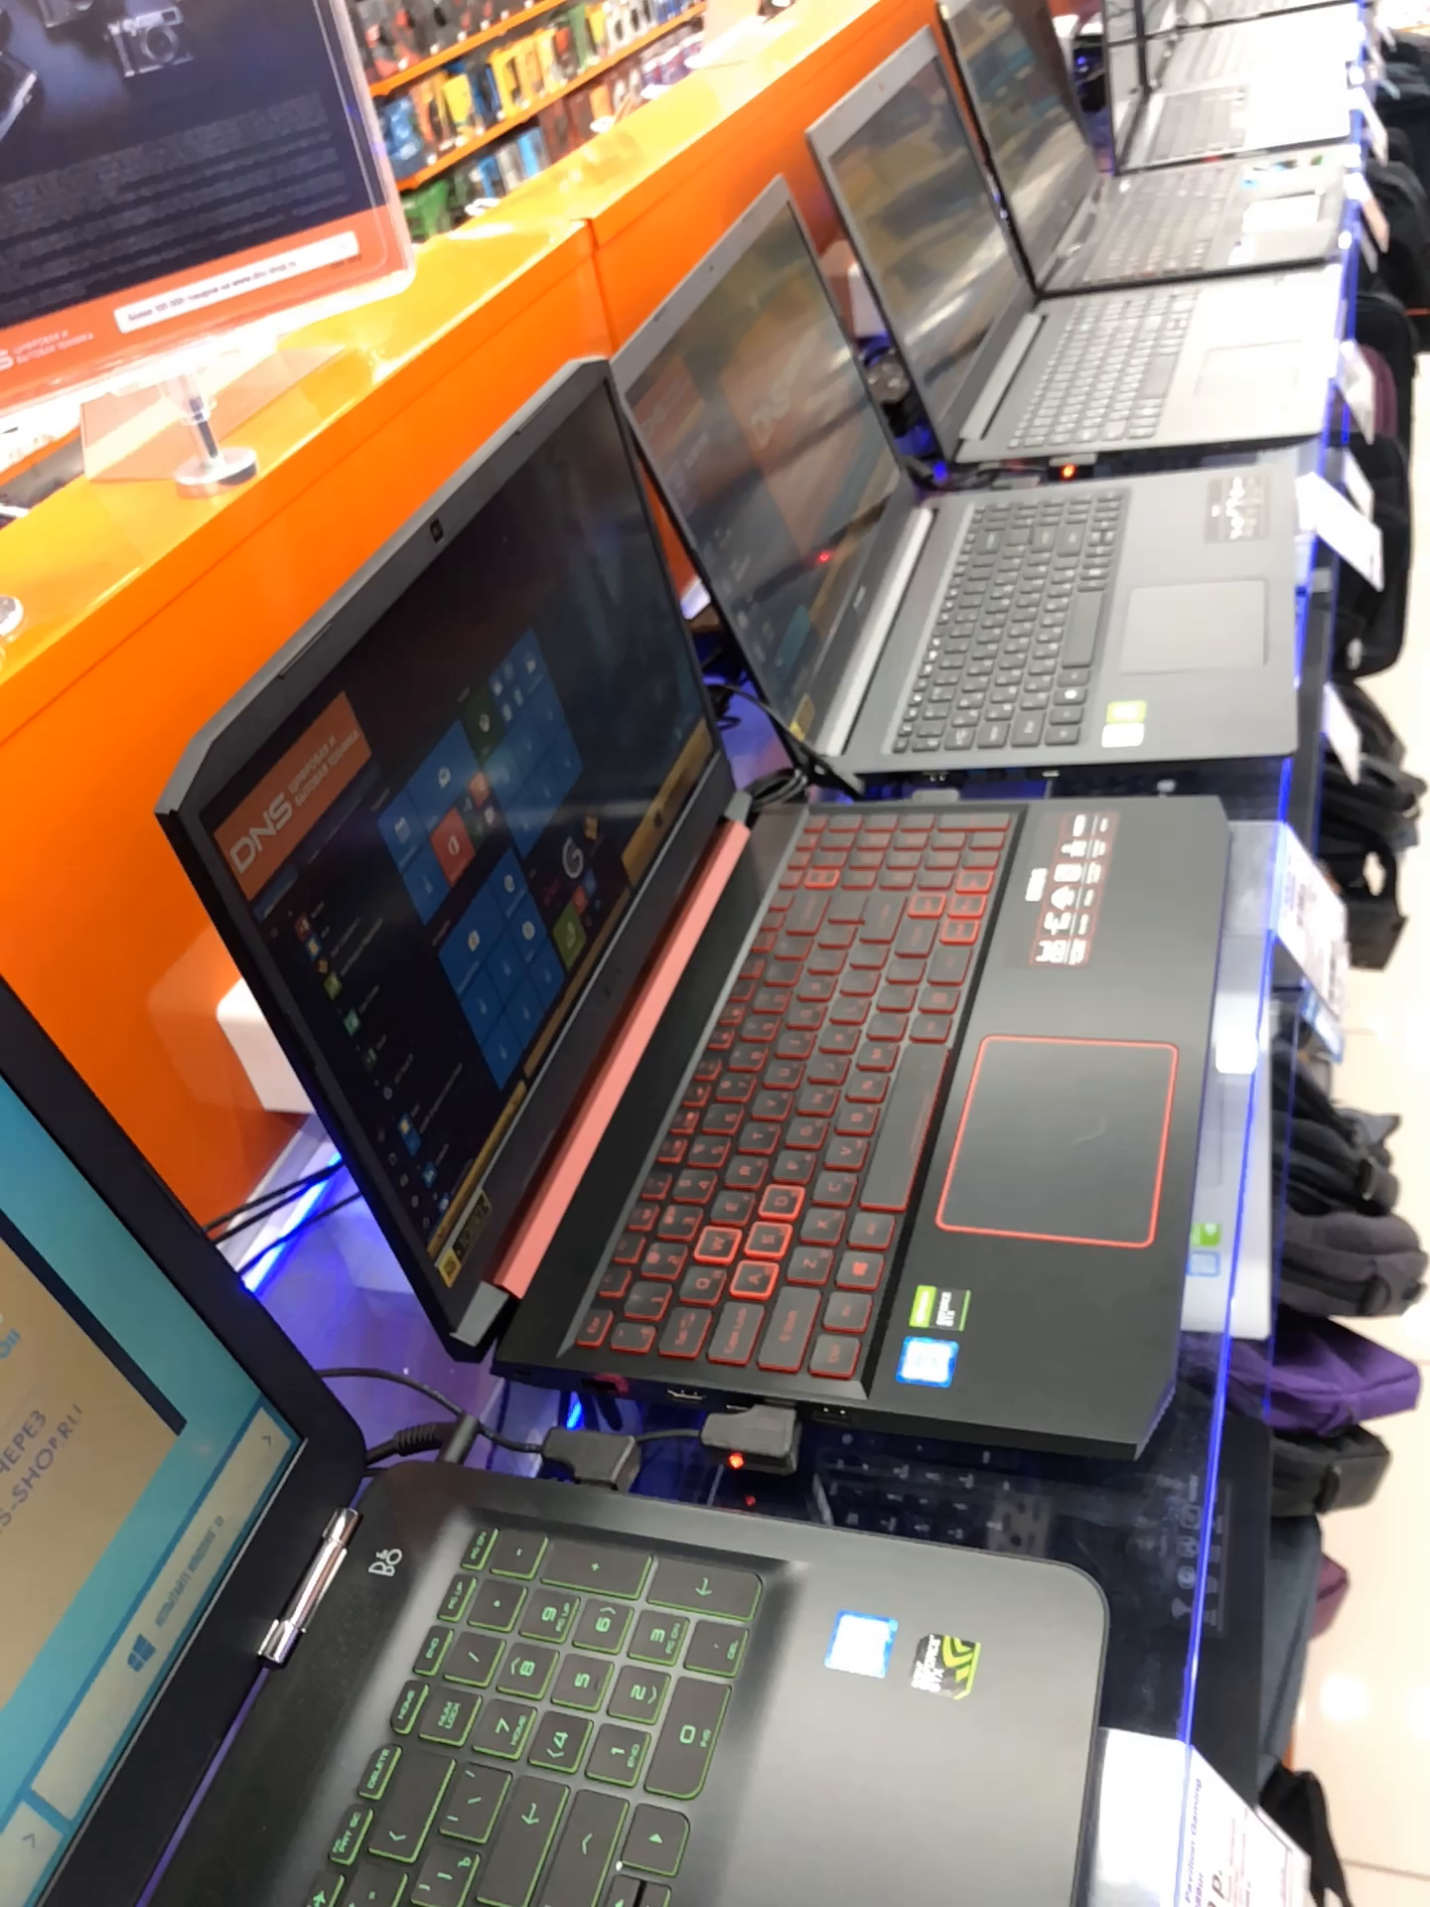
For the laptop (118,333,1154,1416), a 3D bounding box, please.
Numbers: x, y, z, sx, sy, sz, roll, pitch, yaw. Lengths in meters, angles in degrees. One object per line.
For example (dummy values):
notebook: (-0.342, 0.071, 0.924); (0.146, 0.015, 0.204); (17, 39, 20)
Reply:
laptop: (0.018, -0.050, 0.596); (0.250, 0.231, 0.330); (1, 38, 20)
